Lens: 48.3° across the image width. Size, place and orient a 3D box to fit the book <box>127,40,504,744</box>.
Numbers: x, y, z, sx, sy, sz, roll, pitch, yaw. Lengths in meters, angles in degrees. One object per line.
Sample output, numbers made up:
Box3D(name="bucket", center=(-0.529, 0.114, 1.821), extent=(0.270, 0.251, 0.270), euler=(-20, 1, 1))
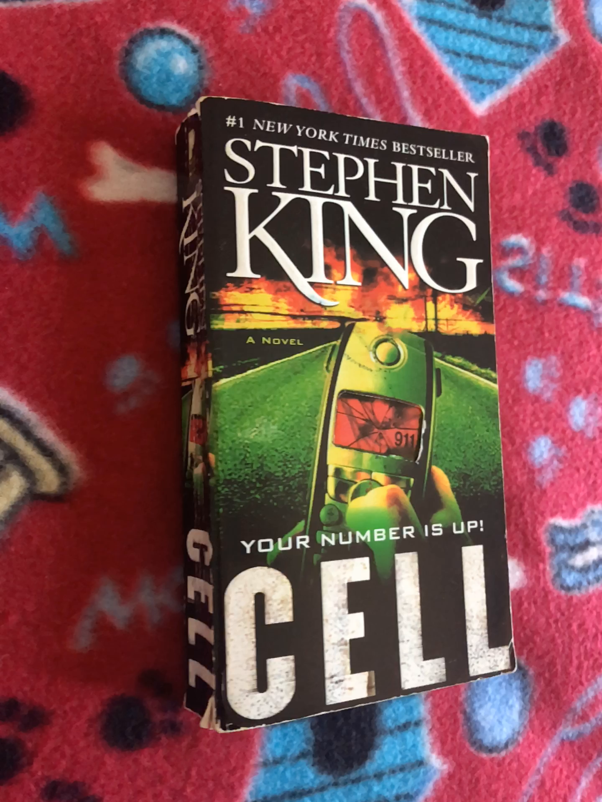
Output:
Box3D(name="book", center=(0.006, -0.006, 0.229), extent=(0.120, 0.030, 0.200), euler=(0, 85, -26))
